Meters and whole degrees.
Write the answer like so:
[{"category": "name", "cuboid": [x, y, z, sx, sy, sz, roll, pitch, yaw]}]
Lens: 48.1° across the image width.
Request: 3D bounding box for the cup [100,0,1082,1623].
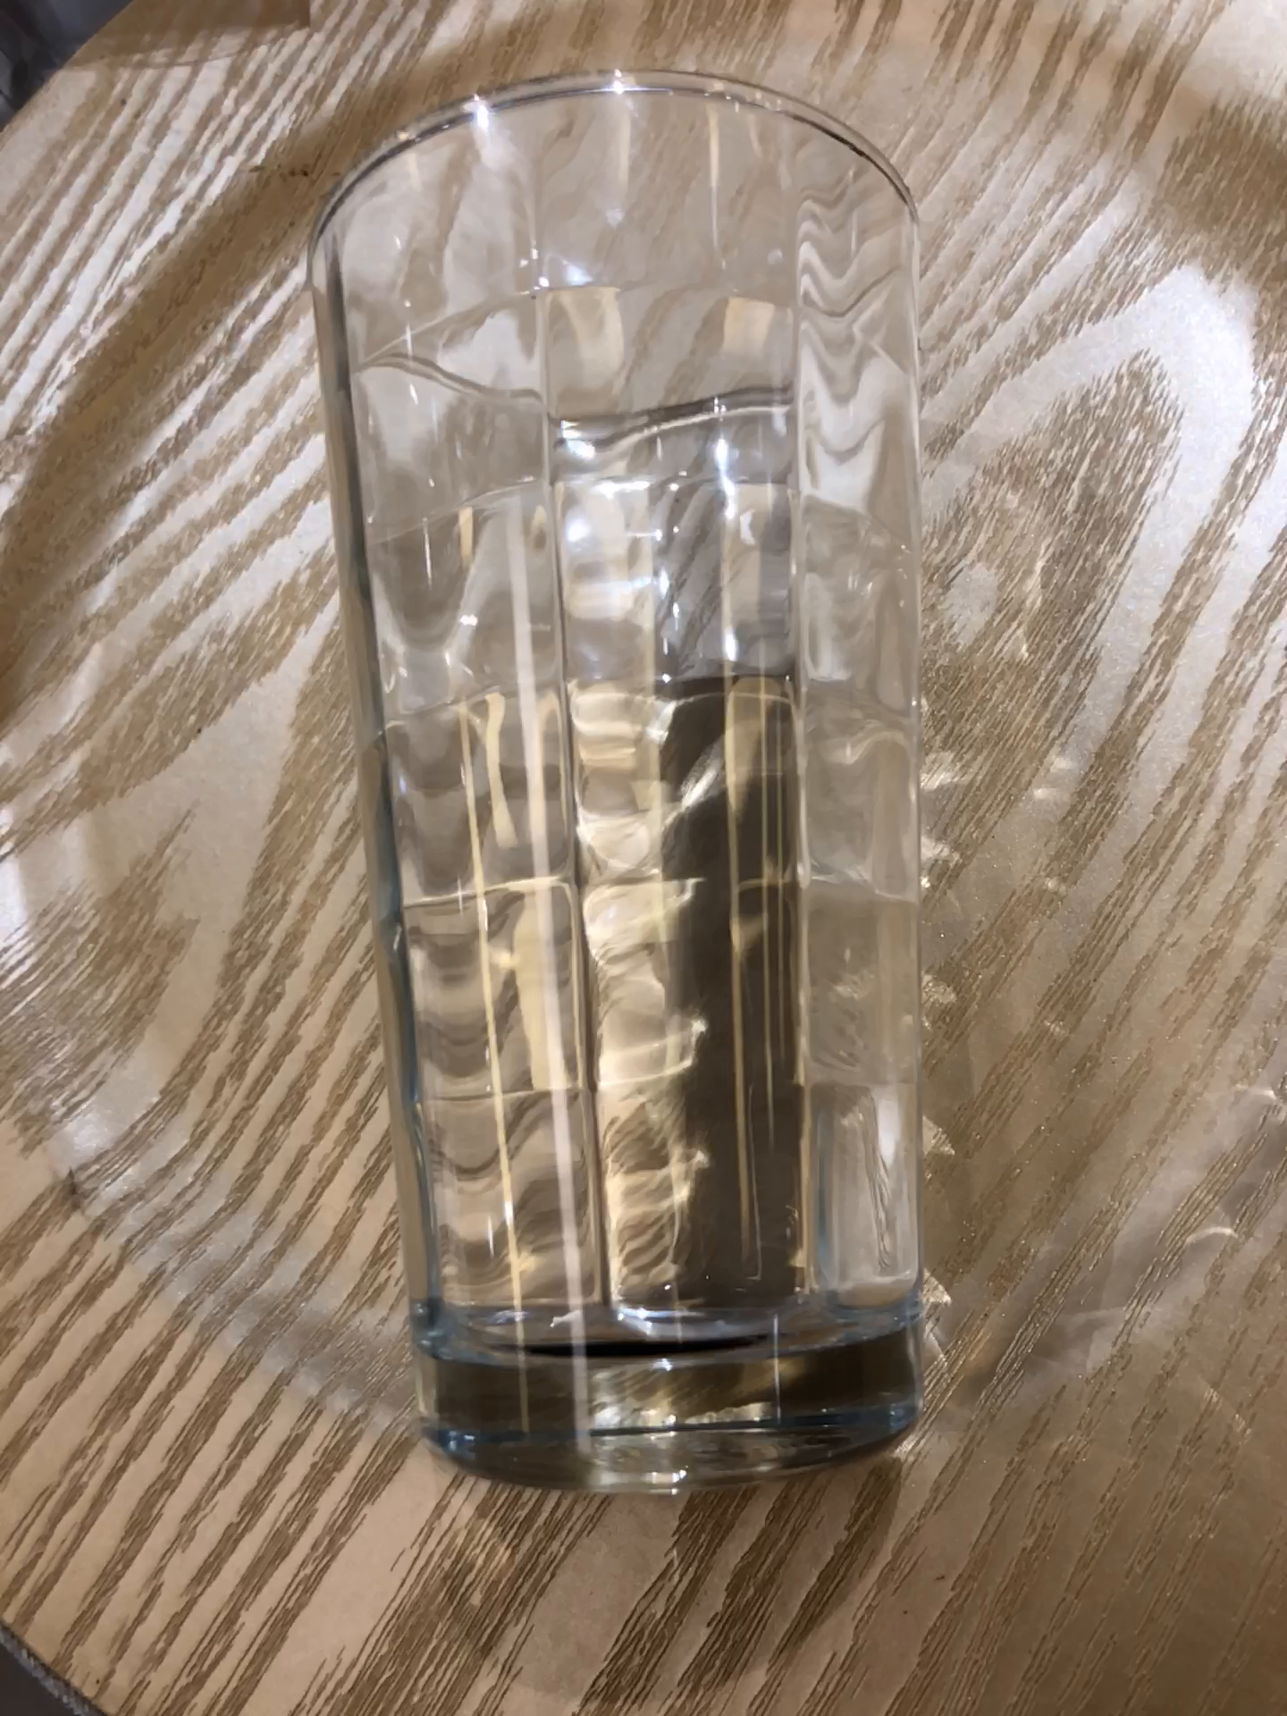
[{"category": "cup", "cuboid": [-0.001, -0.014, 0.184, 0.090, 0.080, 0.180, -6, 76, 15]}]
